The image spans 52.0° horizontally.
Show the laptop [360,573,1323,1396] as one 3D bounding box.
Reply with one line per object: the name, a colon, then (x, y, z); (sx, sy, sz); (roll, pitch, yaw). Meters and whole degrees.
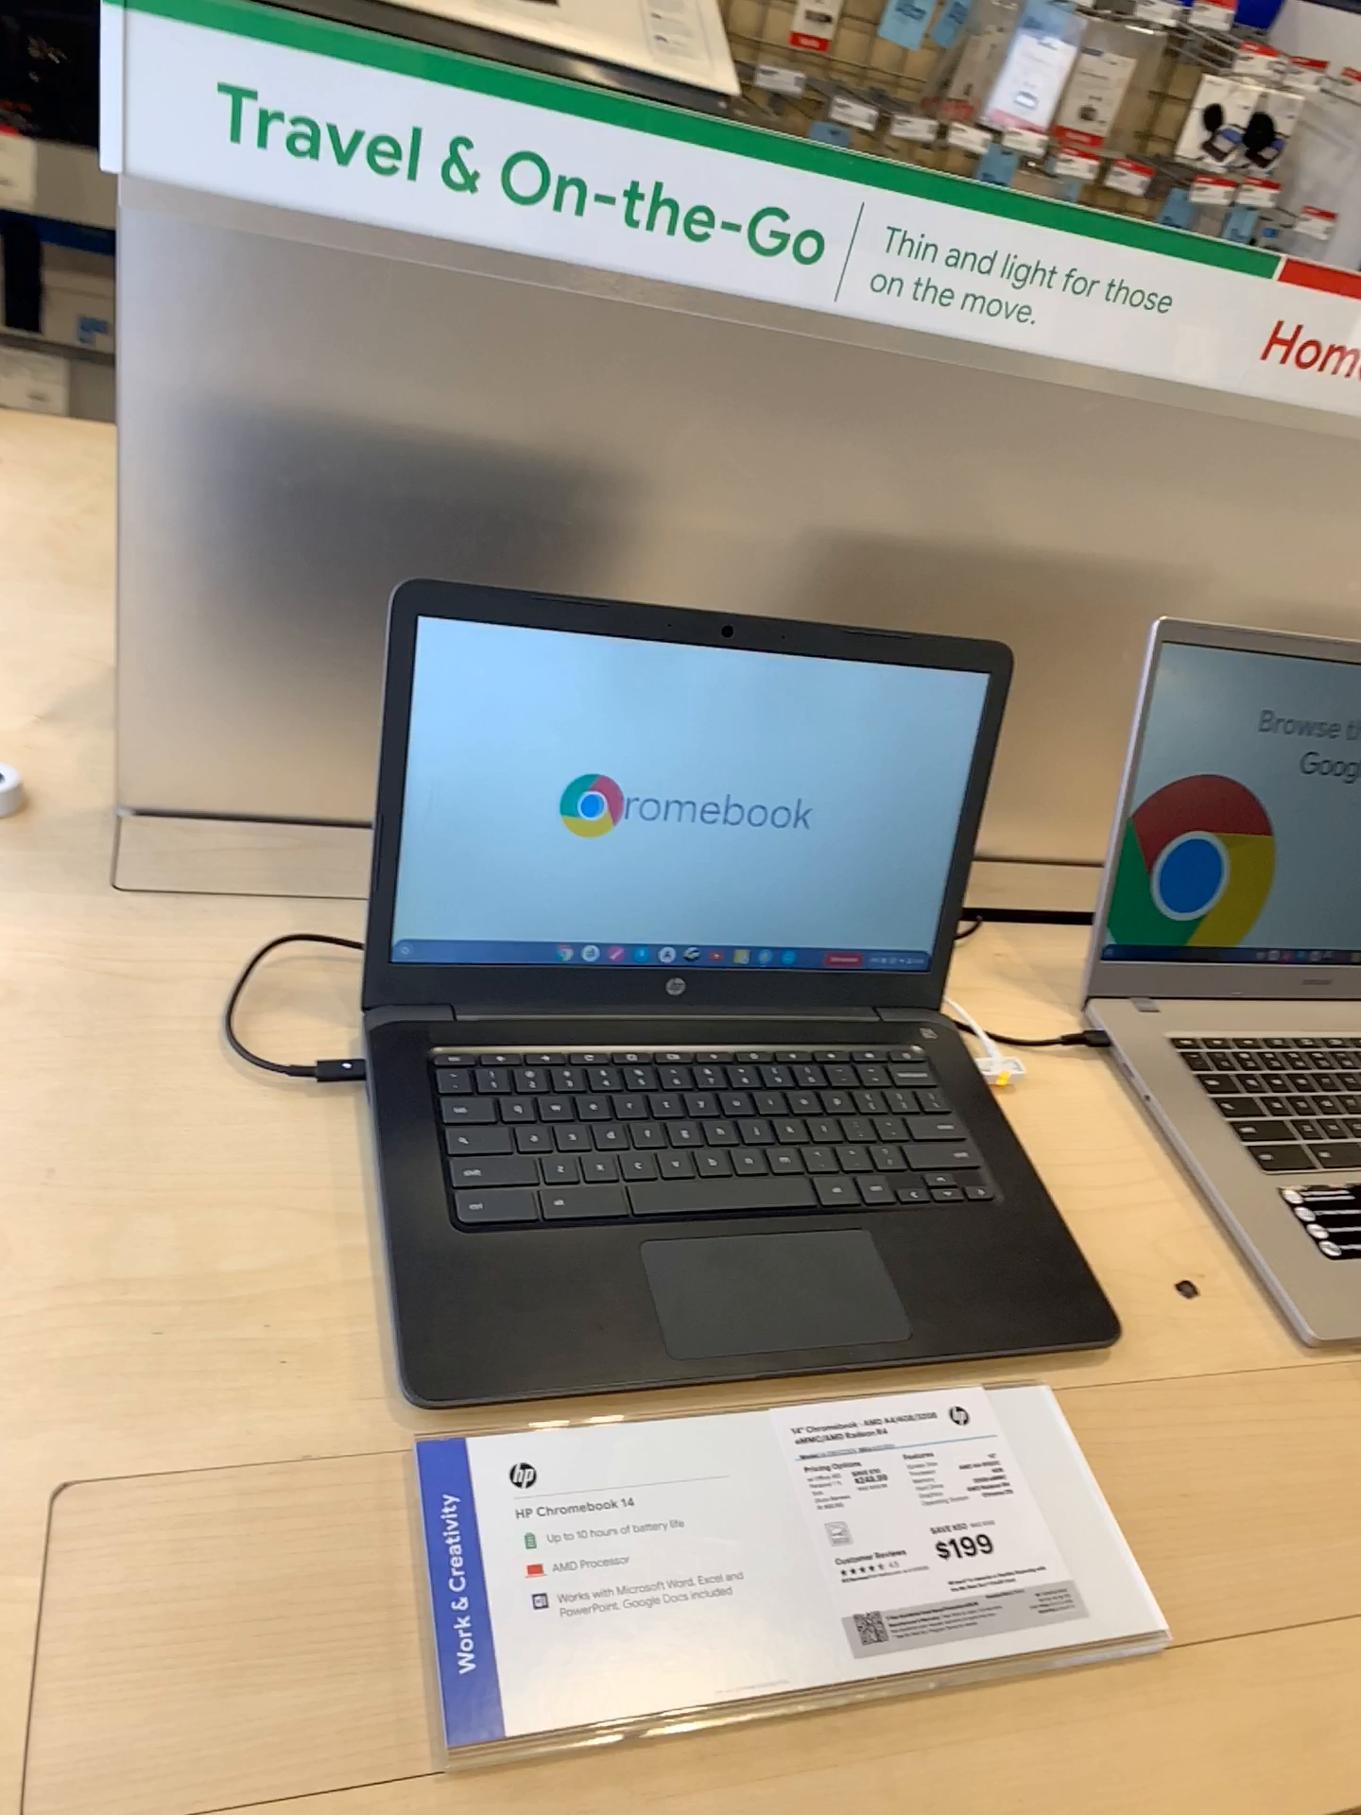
laptop: (0.035, 0.019, 0.641); (0.319, 0.198, 0.293); (1, 38, -19)
